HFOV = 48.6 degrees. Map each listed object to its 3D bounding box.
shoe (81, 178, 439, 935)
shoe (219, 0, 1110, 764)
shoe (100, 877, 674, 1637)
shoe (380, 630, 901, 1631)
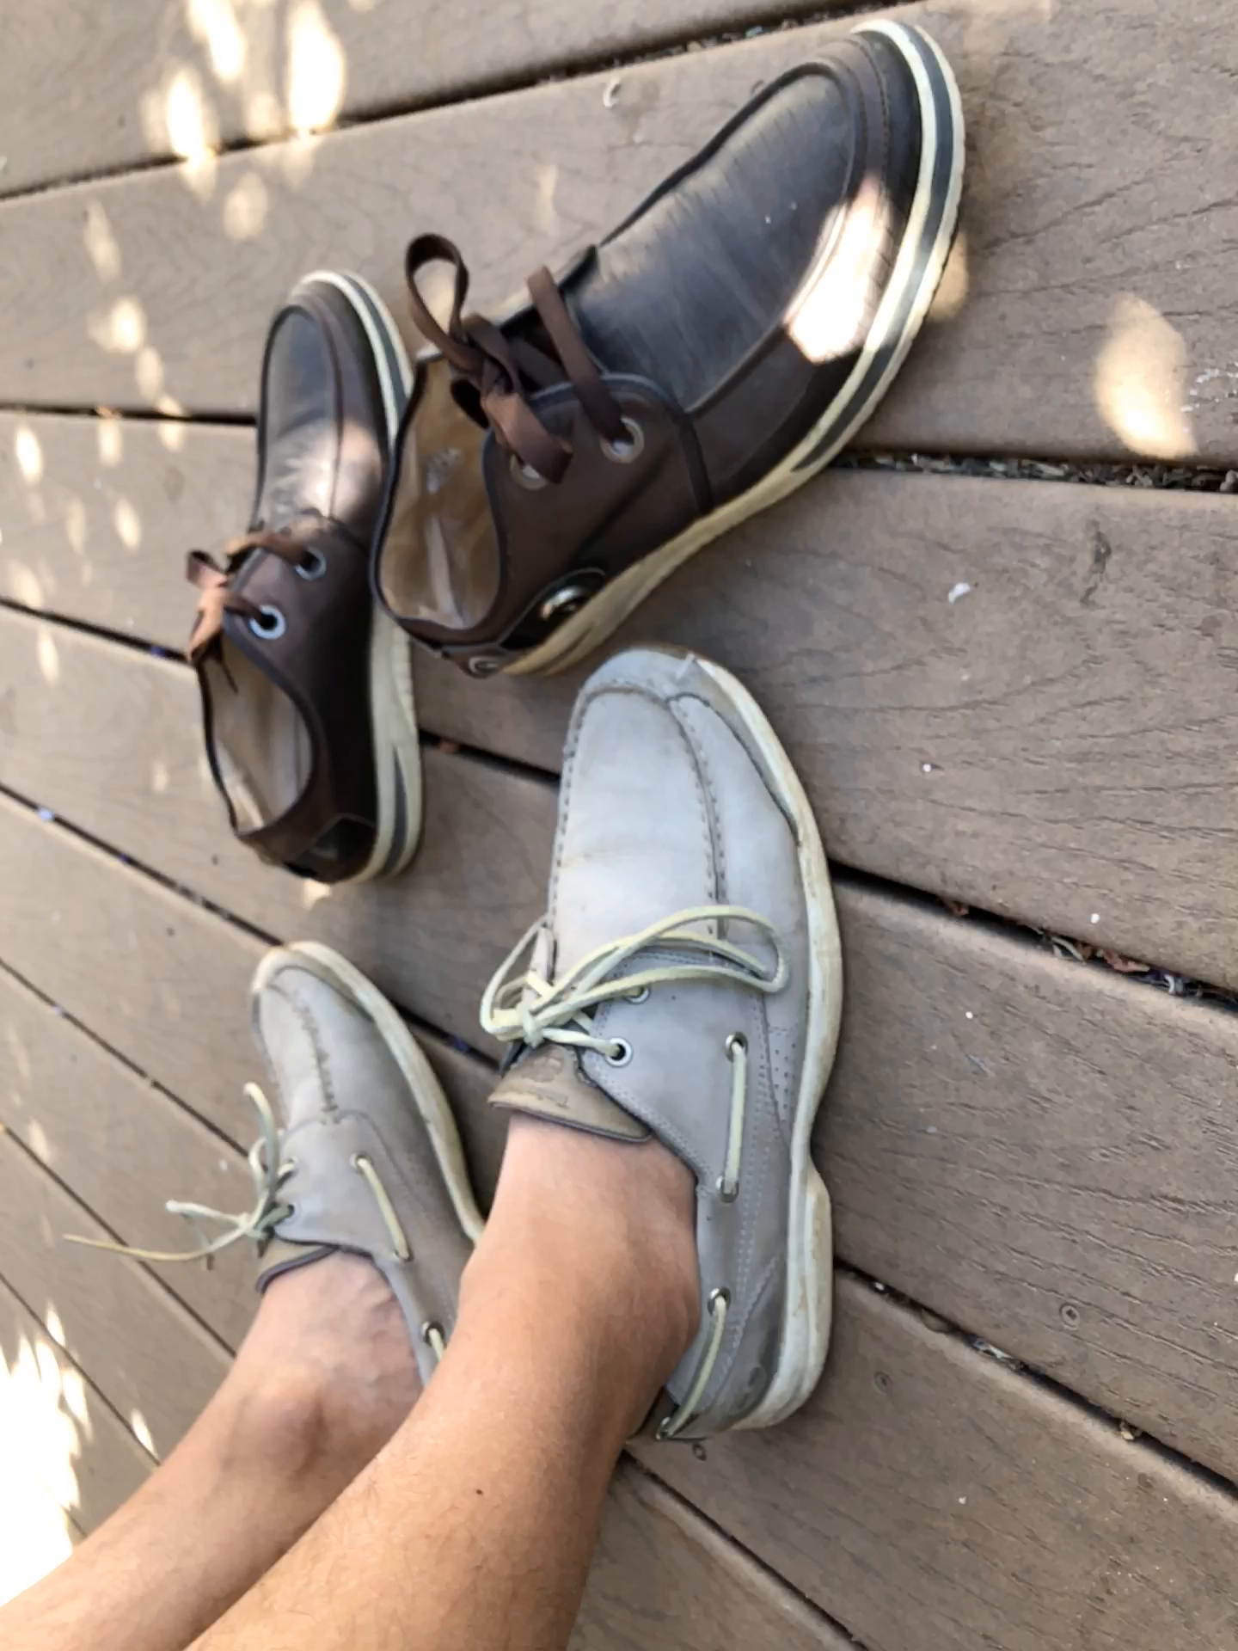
[{"bbox_3d":[-0.164,-0.114,0.636,0.111,0.111,0.303,7,100,46],"label":"shoe"},{"bbox_3d":[-0.010,-0.147,0.468,0.304,0.111,0.110,-38,68,42],"label":"shoe"},{"bbox_3d":[-0.121,0.180,0.637,0.304,0.111,0.110,55,130,26],"label":"shoe"},{"bbox_3d":[0.008,0.091,0.489,0.111,0.111,0.303,-4,92,47],"label":"shoe"}]
